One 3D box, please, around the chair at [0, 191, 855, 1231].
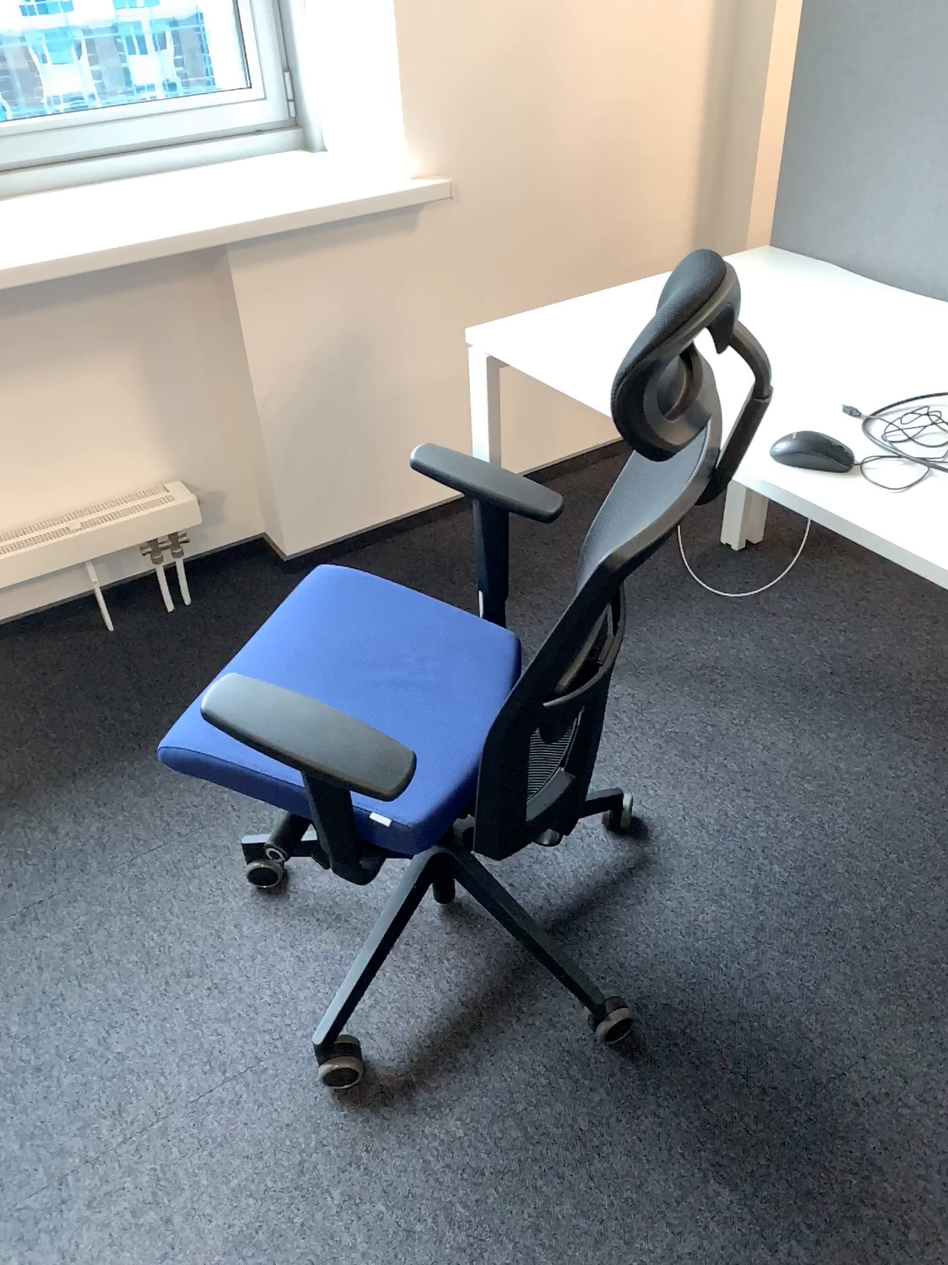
[{"bbox_3d":[-0.032,0.056,1.375,0.791,1.074,0.753,14,39,22],"label":"chair"}]
